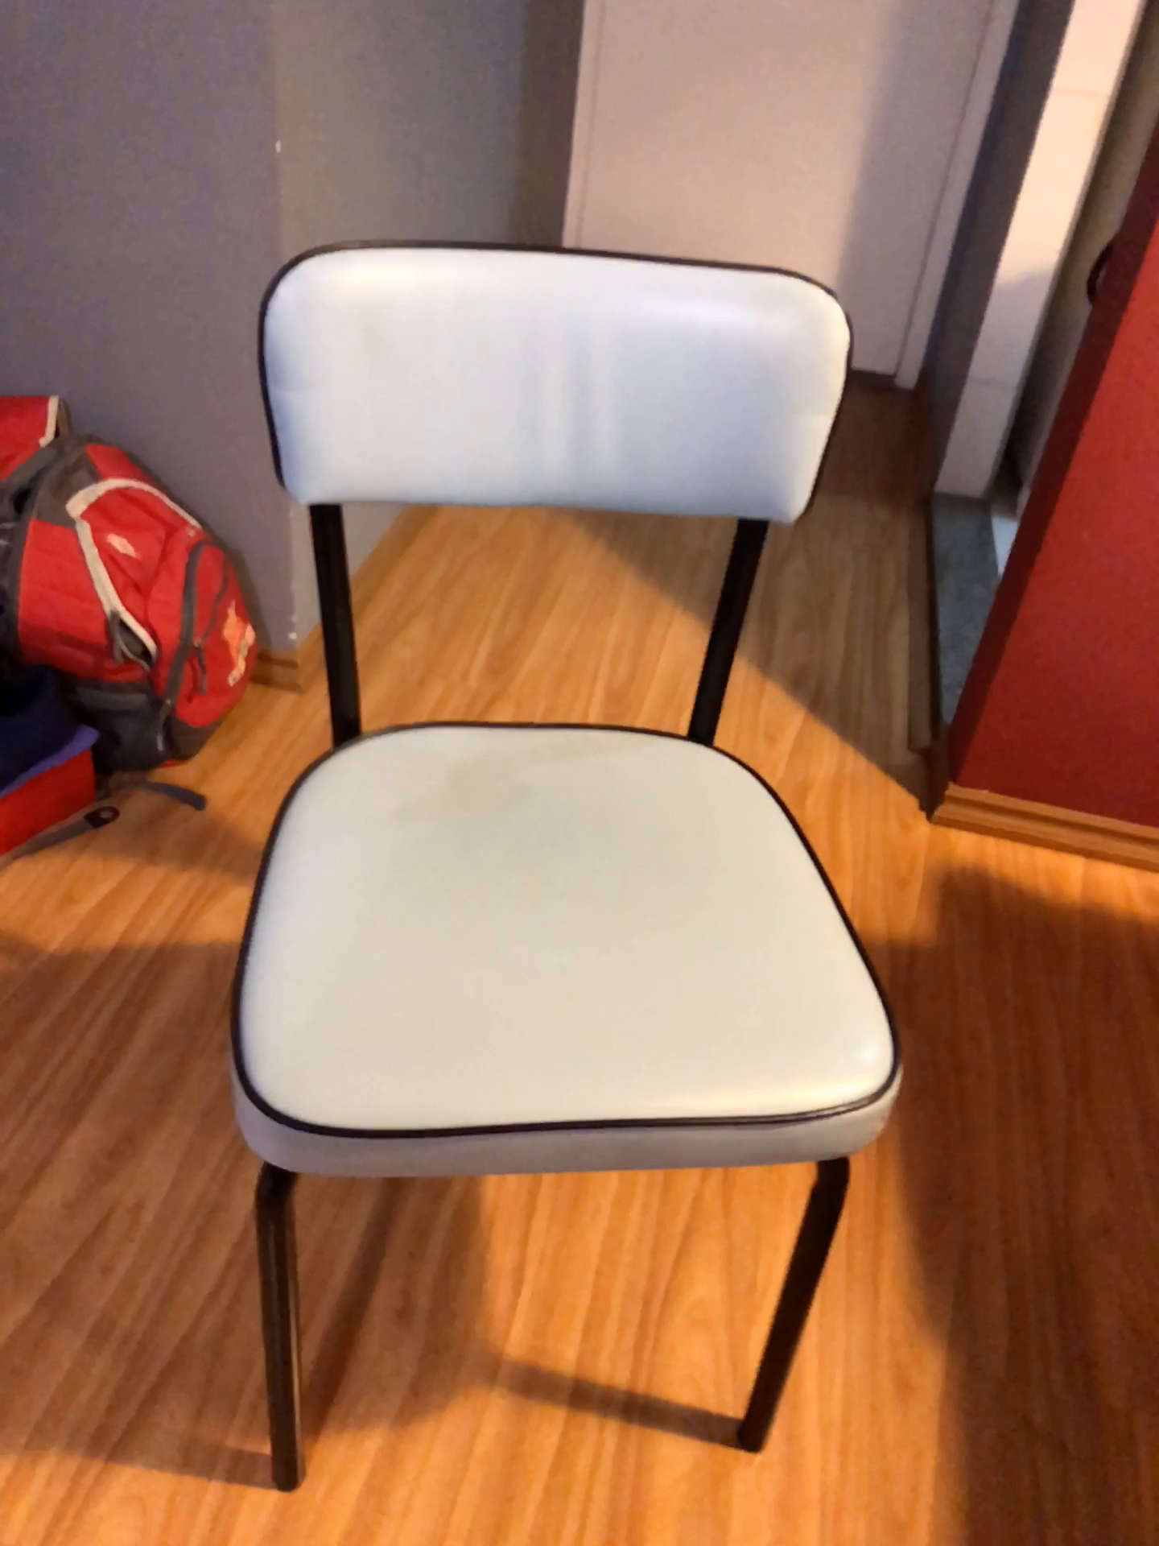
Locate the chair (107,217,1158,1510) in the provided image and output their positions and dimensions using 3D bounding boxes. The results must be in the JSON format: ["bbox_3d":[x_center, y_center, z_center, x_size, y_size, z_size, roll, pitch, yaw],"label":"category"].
[{"bbox_3d":[-0.026,0.086,0.956,0.450,0.793,0.504,0,38,-9],"label":"chair"}]
